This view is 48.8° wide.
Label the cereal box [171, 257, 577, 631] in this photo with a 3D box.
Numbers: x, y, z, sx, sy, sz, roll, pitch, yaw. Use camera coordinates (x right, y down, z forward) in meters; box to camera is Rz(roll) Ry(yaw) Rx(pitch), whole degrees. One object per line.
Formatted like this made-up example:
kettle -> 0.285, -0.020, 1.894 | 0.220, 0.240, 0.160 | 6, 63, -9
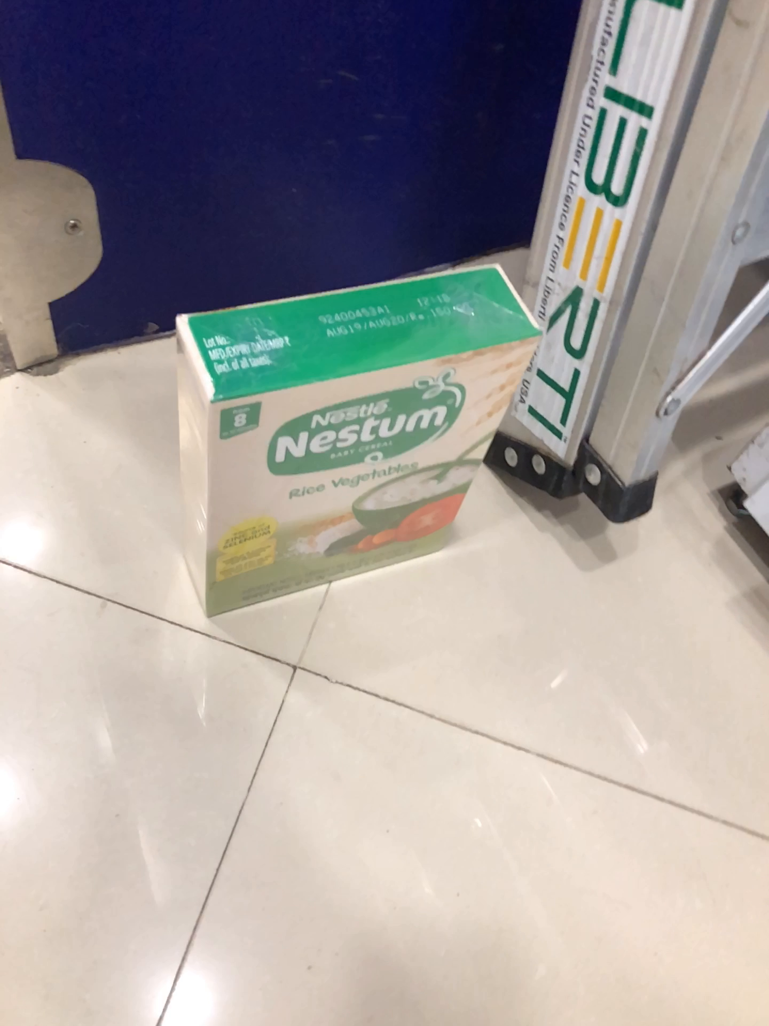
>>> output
cereal box -> -0.017, -0.026, 0.422 | 0.160, 0.189, 0.050 | -15, 63, -21
